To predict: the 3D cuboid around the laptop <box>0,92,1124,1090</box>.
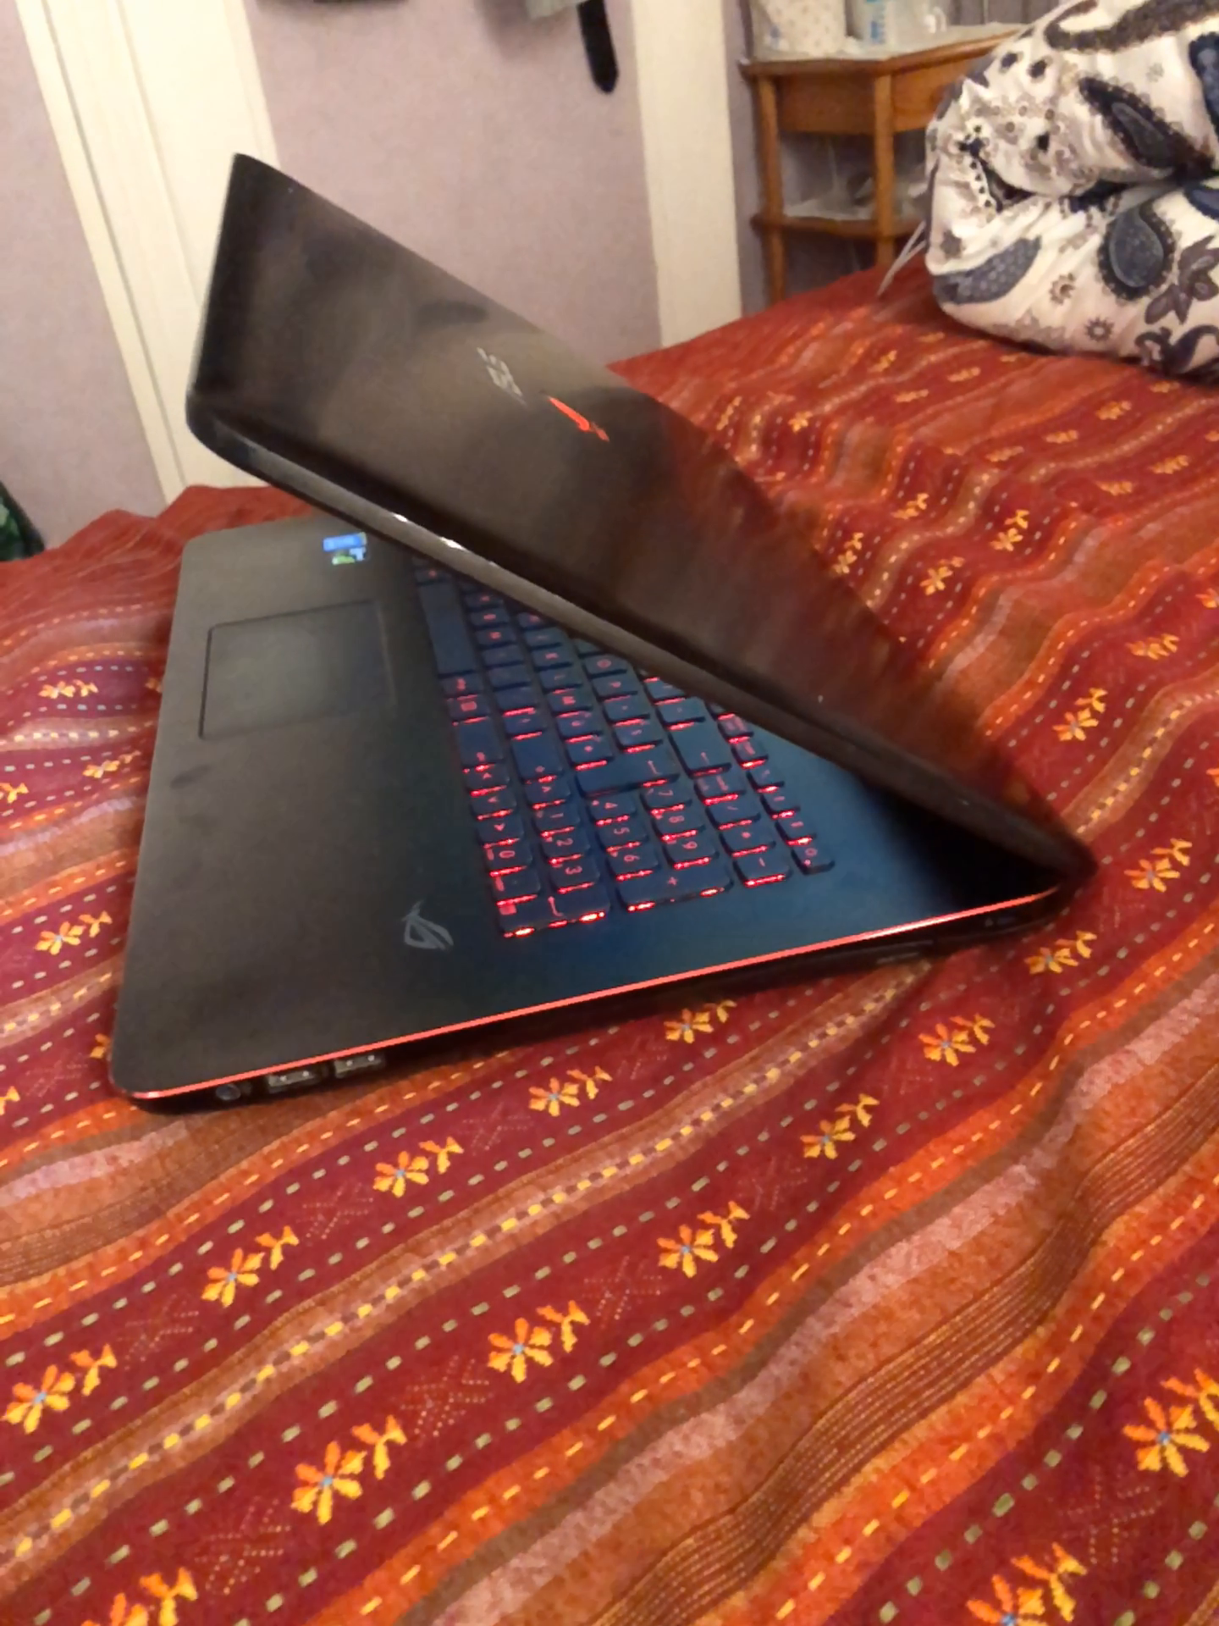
[{"bbox_3d":[-0.048,-0.131,0.487,0.267,0.168,0.400,-11,34,-6],"label":"laptop"}]
